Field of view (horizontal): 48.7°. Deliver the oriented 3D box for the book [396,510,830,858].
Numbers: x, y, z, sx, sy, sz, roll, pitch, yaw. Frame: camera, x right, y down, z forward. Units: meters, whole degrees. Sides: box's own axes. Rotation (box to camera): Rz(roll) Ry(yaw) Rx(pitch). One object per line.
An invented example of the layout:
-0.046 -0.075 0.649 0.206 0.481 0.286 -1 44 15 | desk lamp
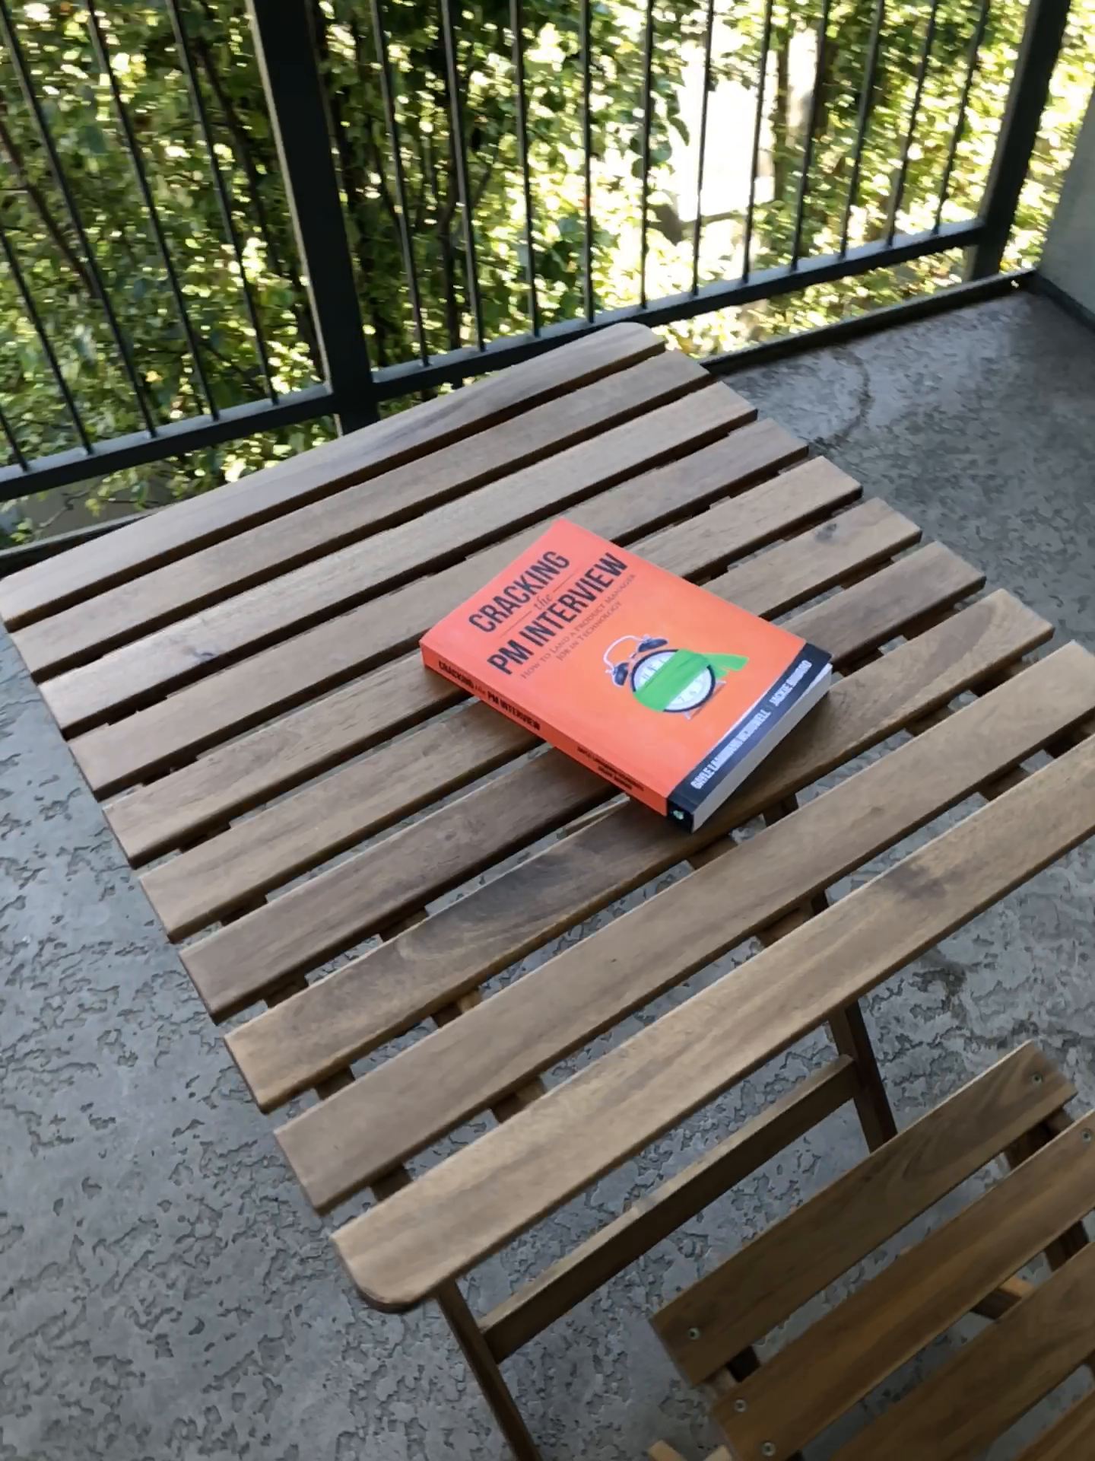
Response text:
0.042 -0.042 0.814 0.230 0.040 0.170 33 59 26 | book
